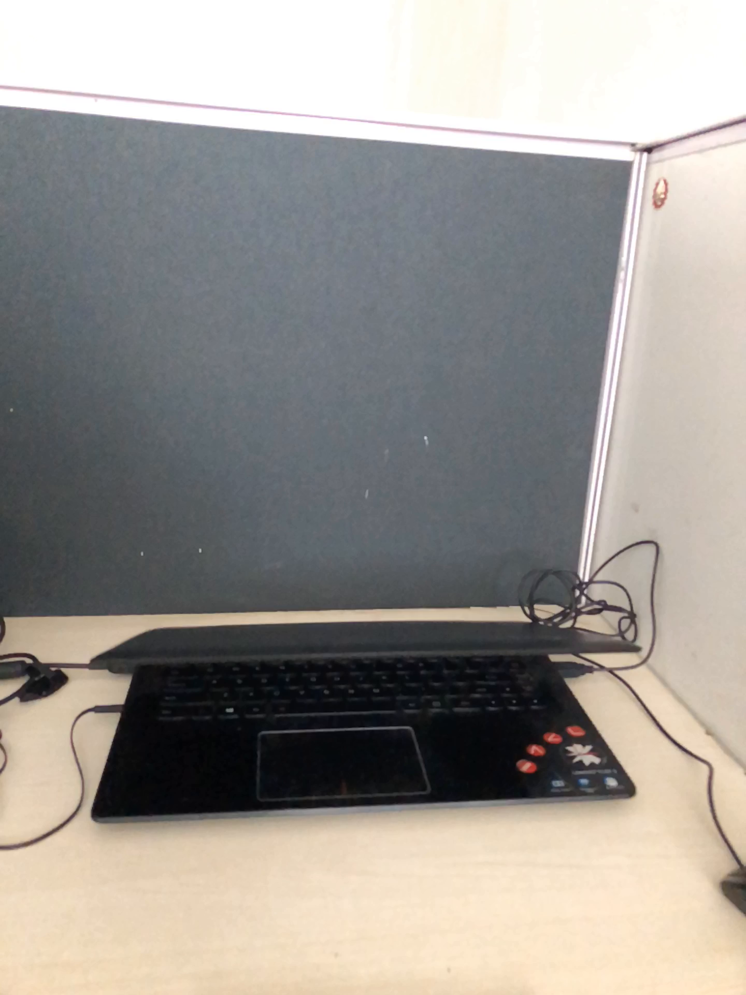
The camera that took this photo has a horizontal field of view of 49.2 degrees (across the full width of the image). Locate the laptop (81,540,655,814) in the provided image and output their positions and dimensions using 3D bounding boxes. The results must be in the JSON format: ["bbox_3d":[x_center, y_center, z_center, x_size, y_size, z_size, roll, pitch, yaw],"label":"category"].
[{"bbox_3d":[-0.010,0.107,0.573,0.326,0.083,0.220,0,16,-7],"label":"laptop"}]
